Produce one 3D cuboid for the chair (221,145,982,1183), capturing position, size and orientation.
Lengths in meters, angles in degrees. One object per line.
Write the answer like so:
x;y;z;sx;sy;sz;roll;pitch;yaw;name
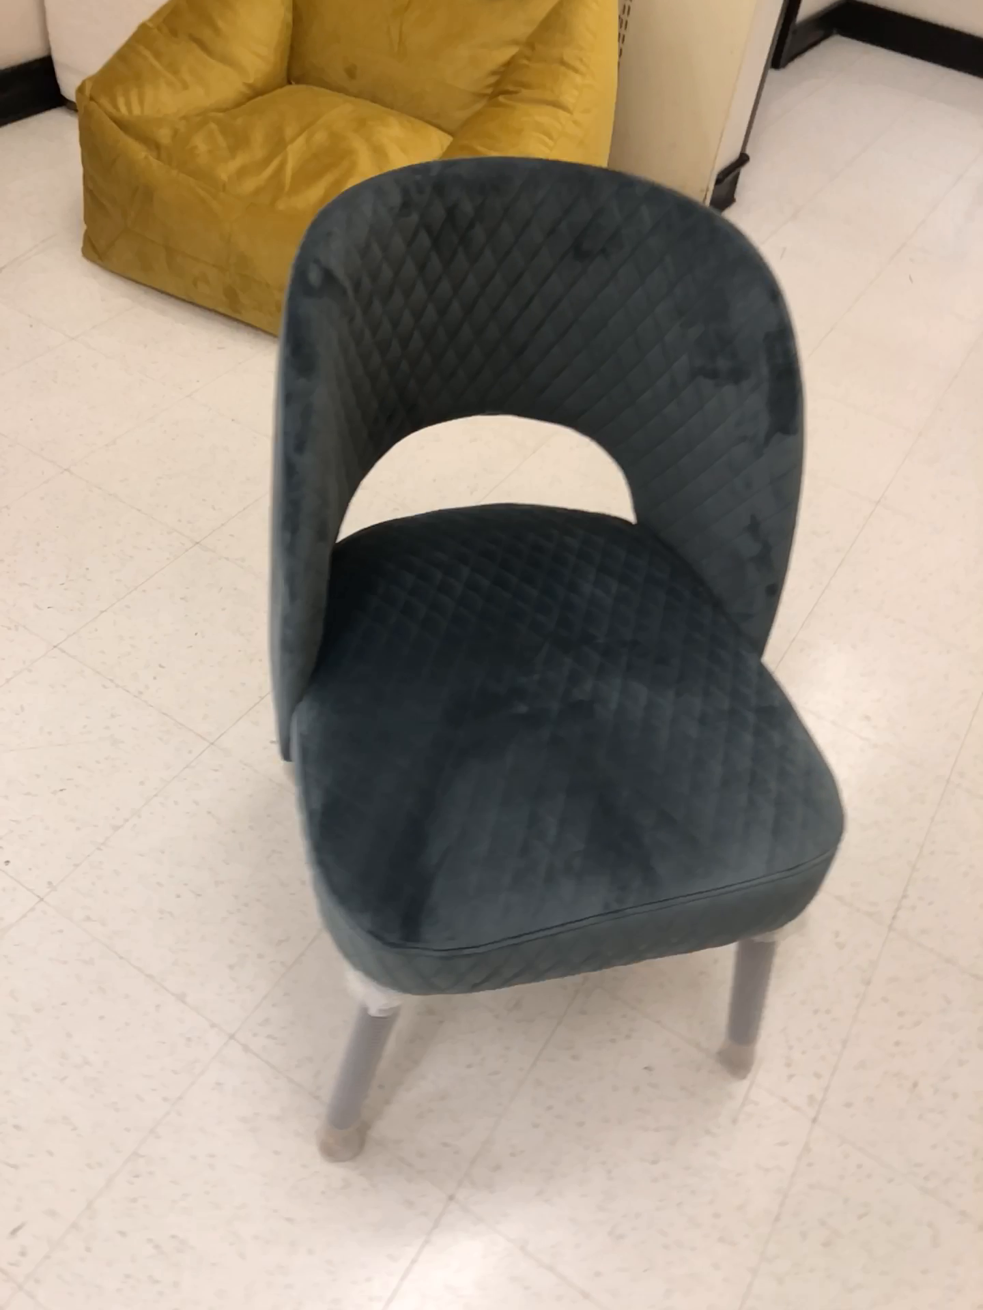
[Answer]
0.044;0.038;1.118;0.531;0.857;0.582;-6;48;-15;chair
